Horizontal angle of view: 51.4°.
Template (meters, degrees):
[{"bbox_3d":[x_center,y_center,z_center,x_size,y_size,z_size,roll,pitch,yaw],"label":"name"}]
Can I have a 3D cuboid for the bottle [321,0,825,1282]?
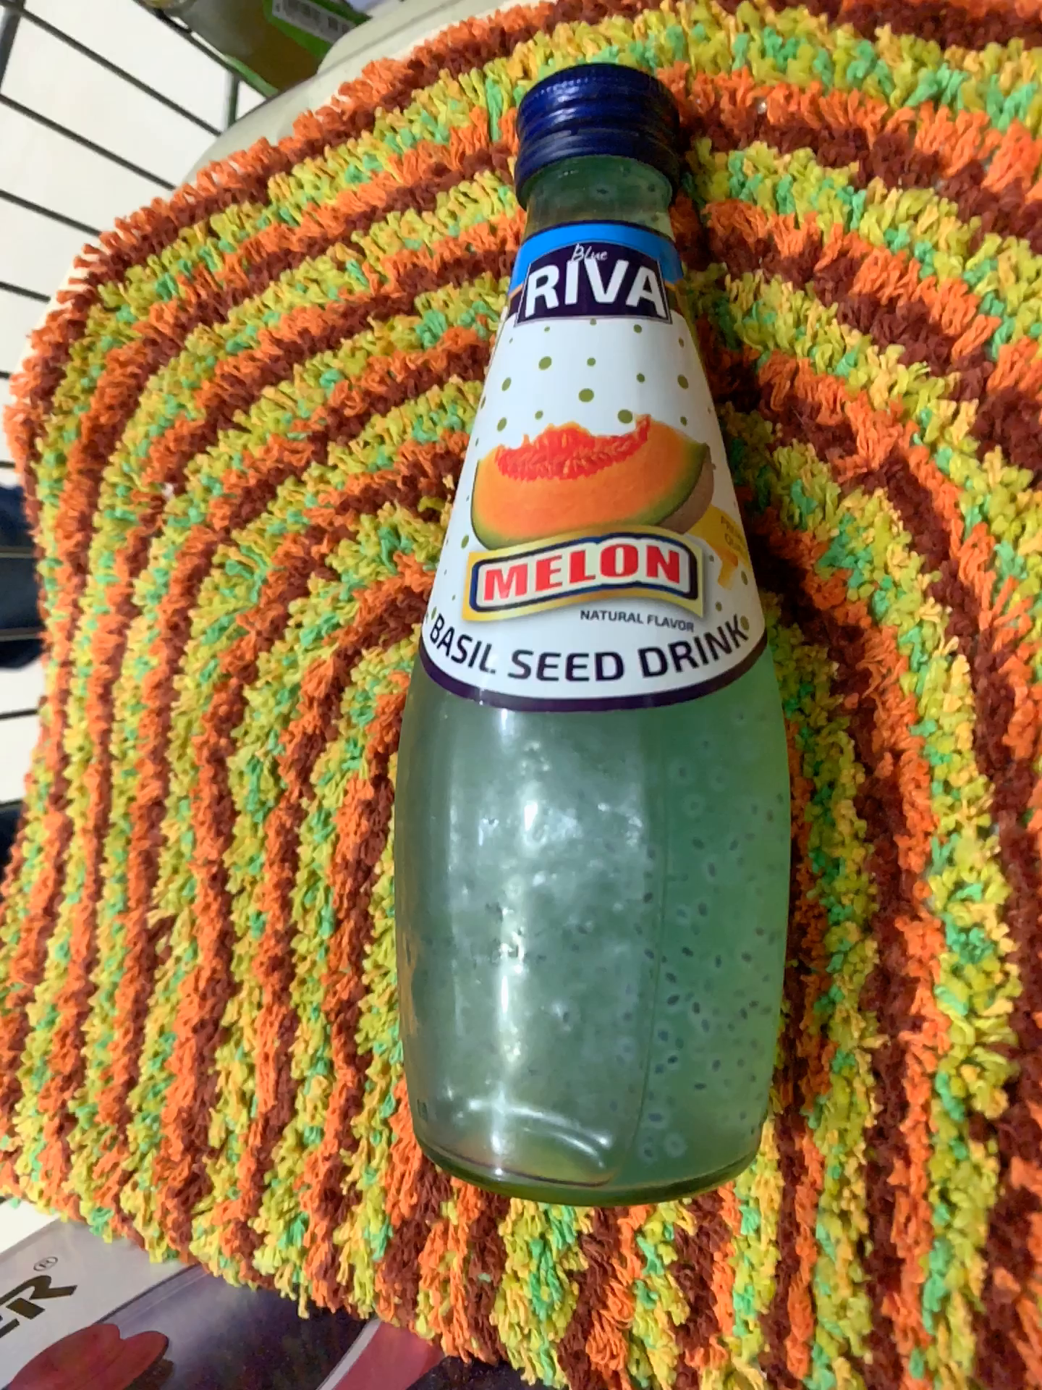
[{"bbox_3d":[0.014,-0.016,0.176,0.060,0.060,0.180,2,85,13],"label":"bottle"}]
